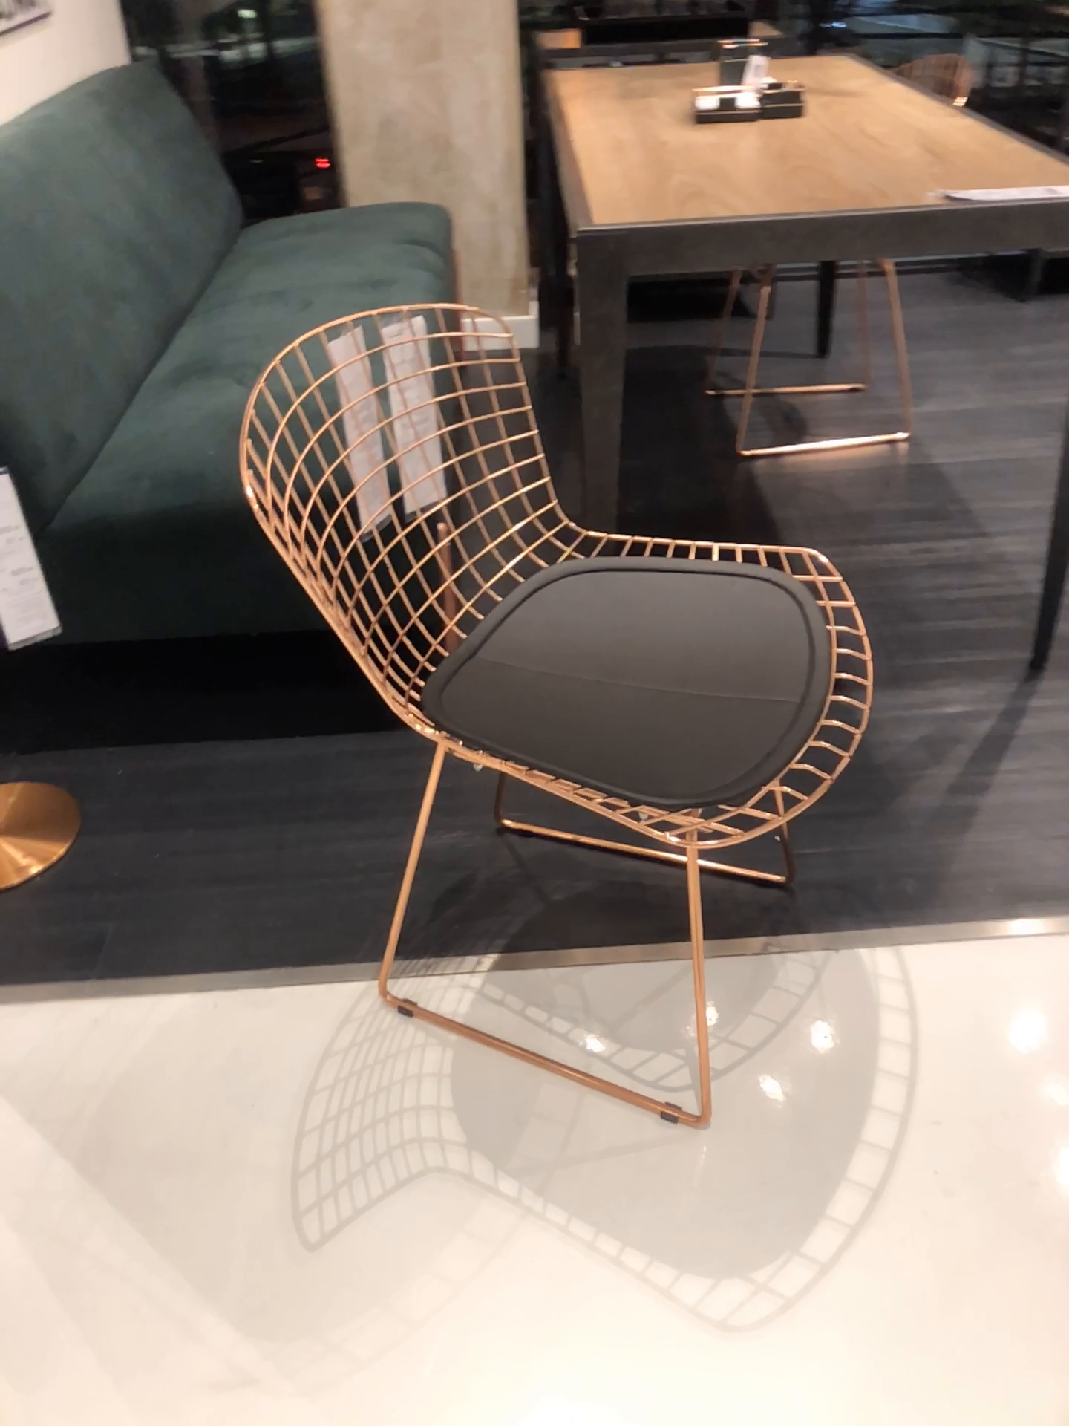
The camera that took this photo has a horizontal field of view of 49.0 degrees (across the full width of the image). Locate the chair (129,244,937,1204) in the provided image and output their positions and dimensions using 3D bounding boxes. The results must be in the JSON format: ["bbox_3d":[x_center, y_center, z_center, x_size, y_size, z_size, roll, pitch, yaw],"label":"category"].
[{"bbox_3d":[0.053,-0.019,1.218,0.540,0.744,0.524,11,37,19],"label":"chair"}]
